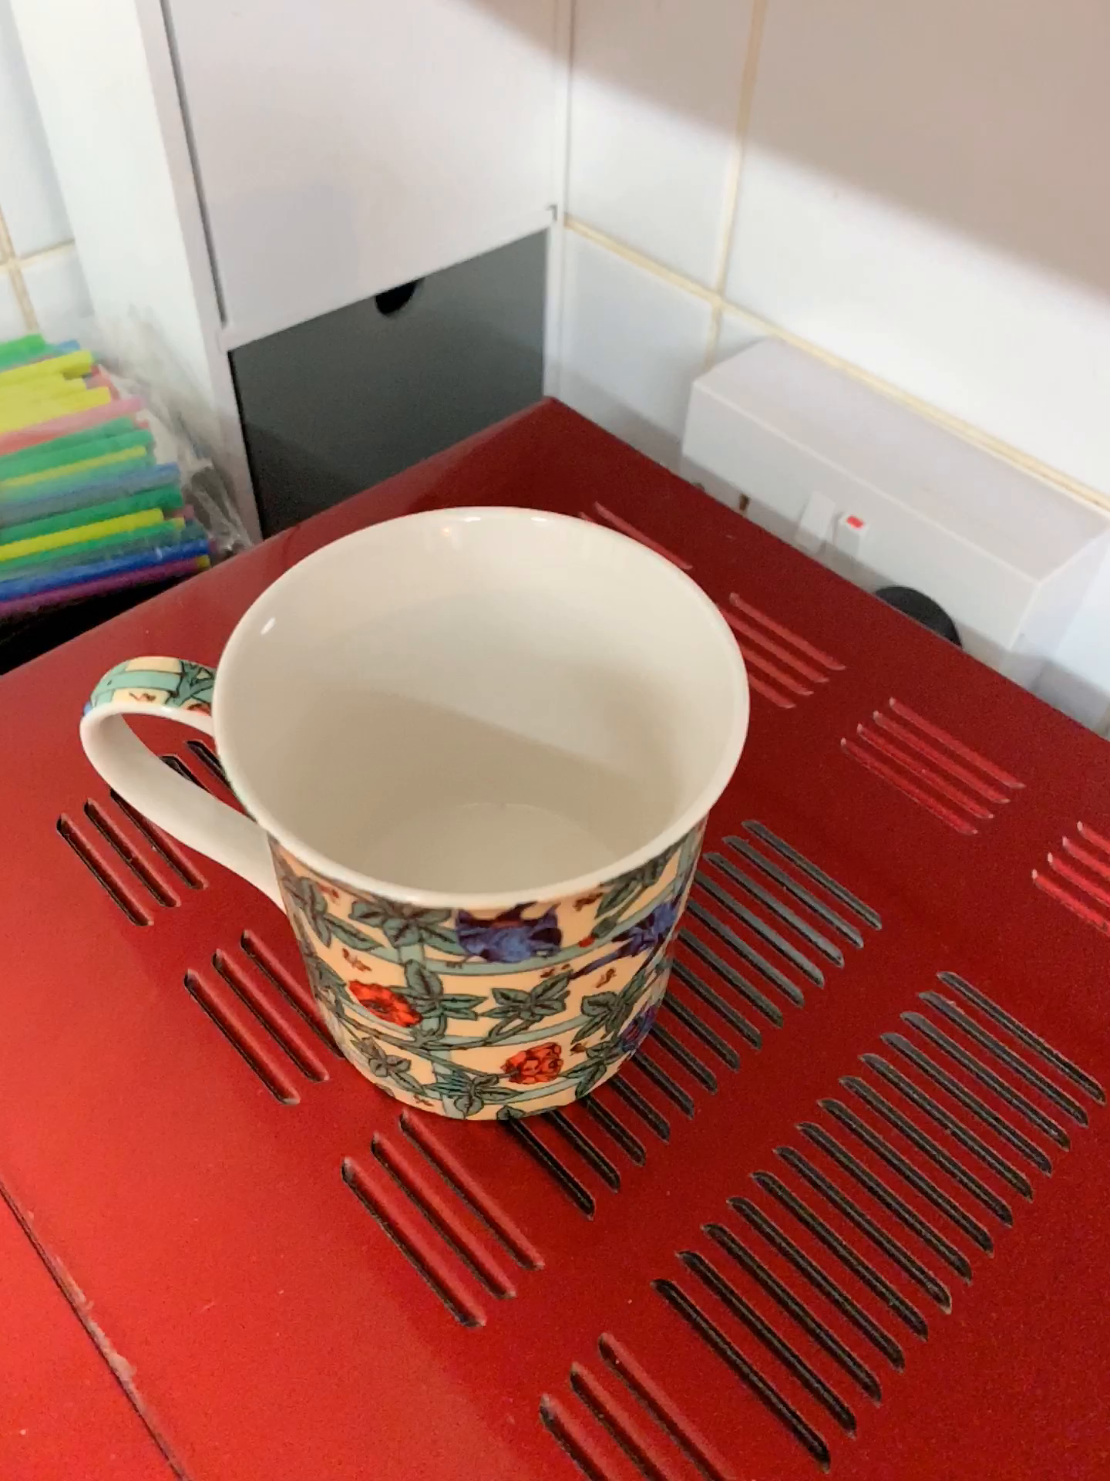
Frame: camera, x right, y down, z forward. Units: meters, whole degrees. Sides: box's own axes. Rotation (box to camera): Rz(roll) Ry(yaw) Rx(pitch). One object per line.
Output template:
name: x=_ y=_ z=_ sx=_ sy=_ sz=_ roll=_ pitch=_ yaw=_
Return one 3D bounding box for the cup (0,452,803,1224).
cup: x=-0.024 y=0.016 z=0.202 sx=0.110 sy=0.079 sz=0.081 roll=13 pitch=50 yaw=9
